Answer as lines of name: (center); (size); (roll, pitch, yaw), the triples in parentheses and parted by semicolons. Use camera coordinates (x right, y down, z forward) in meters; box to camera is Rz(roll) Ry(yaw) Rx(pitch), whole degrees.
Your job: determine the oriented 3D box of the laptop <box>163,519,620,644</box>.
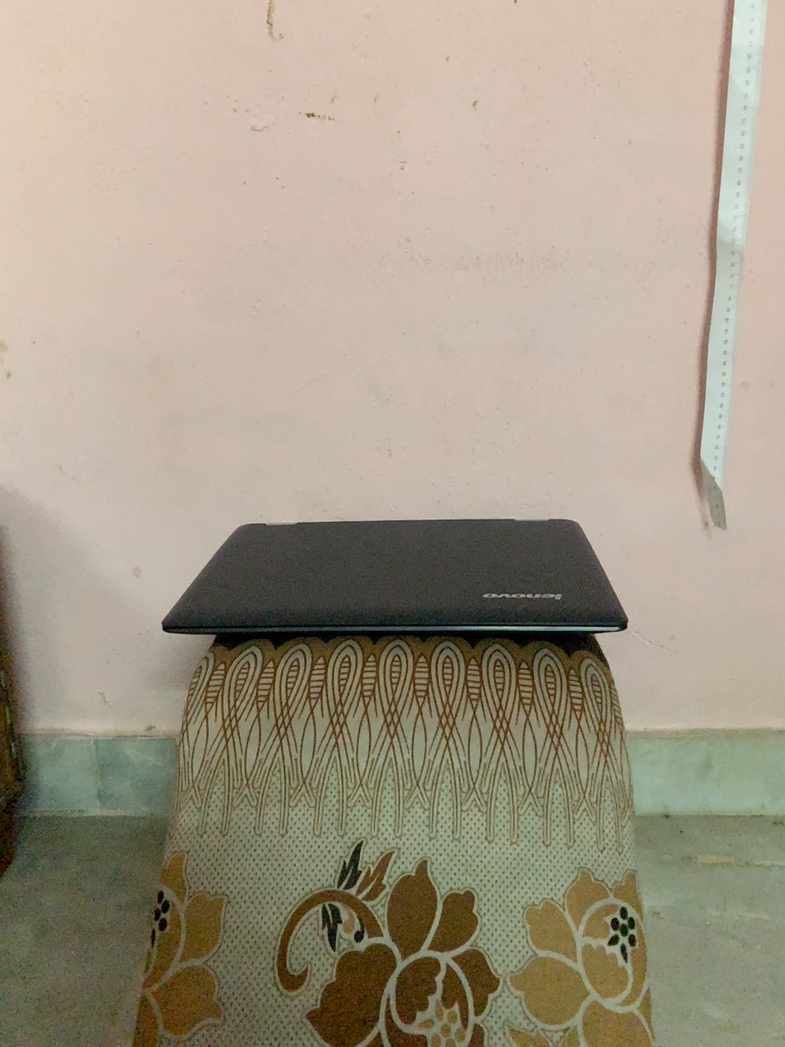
laptop: (0.005, 0.040, 0.648); (0.312, 0.012, 0.214); (-1, 19, 4)
